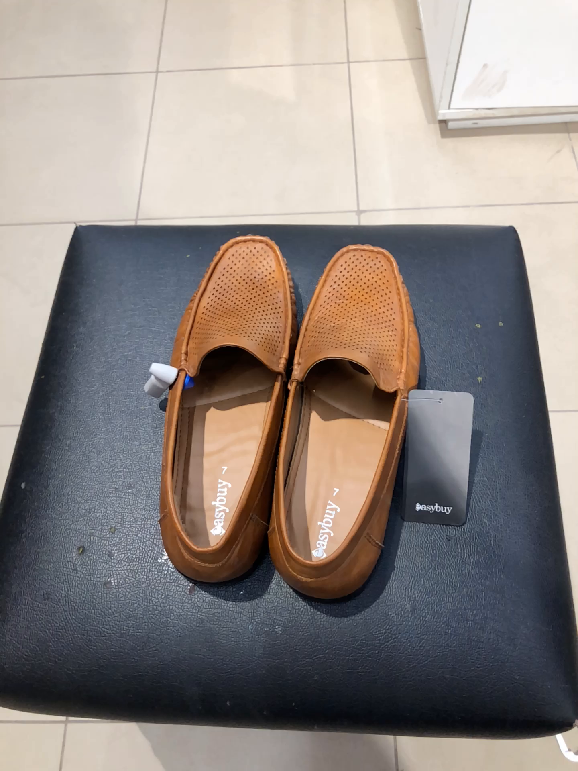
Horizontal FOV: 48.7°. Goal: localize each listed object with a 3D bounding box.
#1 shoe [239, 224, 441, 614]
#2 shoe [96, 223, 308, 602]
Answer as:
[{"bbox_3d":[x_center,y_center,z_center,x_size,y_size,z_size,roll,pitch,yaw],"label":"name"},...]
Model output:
[{"bbox_3d":[0.044,0.018,0.461,0.097,0.096,0.253,8,64,7],"label":"shoe"},{"bbox_3d":[-0.048,0.014,0.467,0.097,0.096,0.253,4,63,5],"label":"shoe"}]
